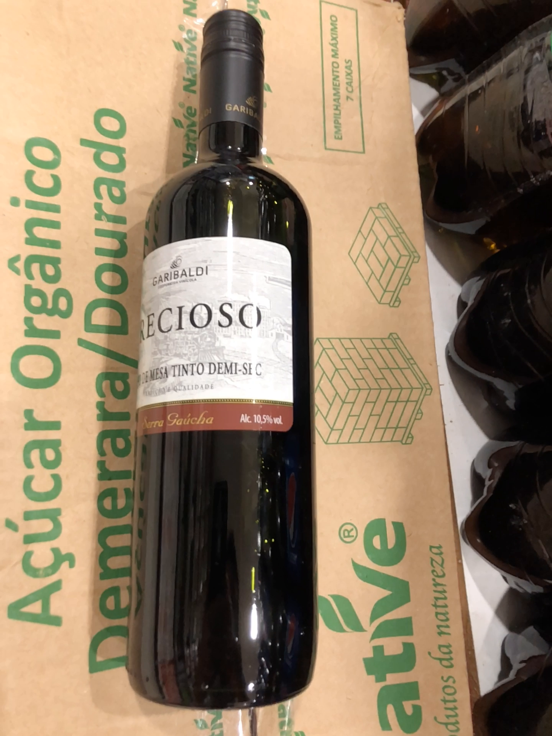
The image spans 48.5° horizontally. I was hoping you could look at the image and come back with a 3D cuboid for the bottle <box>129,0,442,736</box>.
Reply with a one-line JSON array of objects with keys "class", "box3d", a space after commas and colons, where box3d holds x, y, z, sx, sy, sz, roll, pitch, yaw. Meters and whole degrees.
[{"class": "bottle", "box3d": [-0.001, -0.033, 0.269, 0.090, 0.080, 0.340, 7, 75, -27]}]
